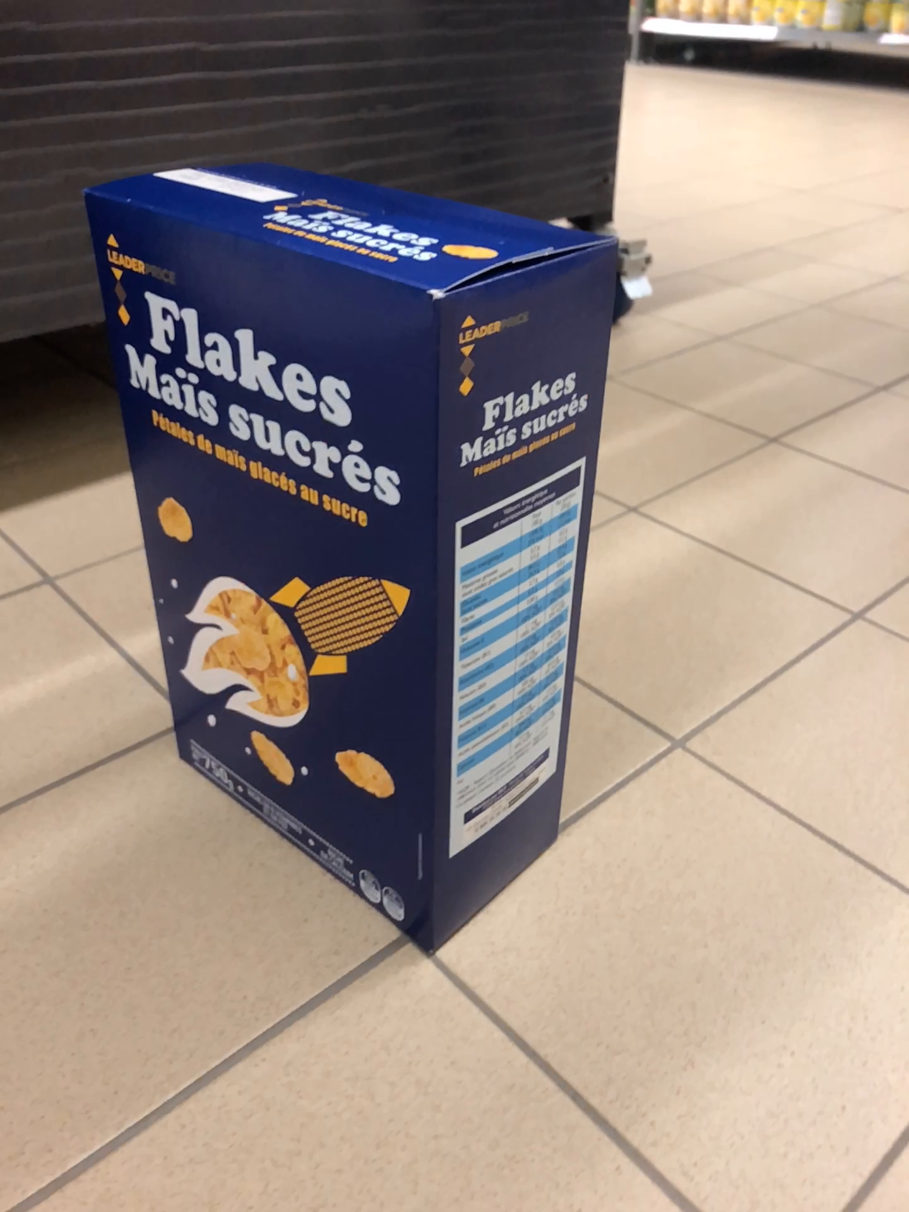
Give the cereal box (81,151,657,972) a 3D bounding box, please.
[{"bbox_3d":[-0.042,-0.024,0.462,0.210,0.308,0.101,26,40,35],"label":"cereal box"}]
